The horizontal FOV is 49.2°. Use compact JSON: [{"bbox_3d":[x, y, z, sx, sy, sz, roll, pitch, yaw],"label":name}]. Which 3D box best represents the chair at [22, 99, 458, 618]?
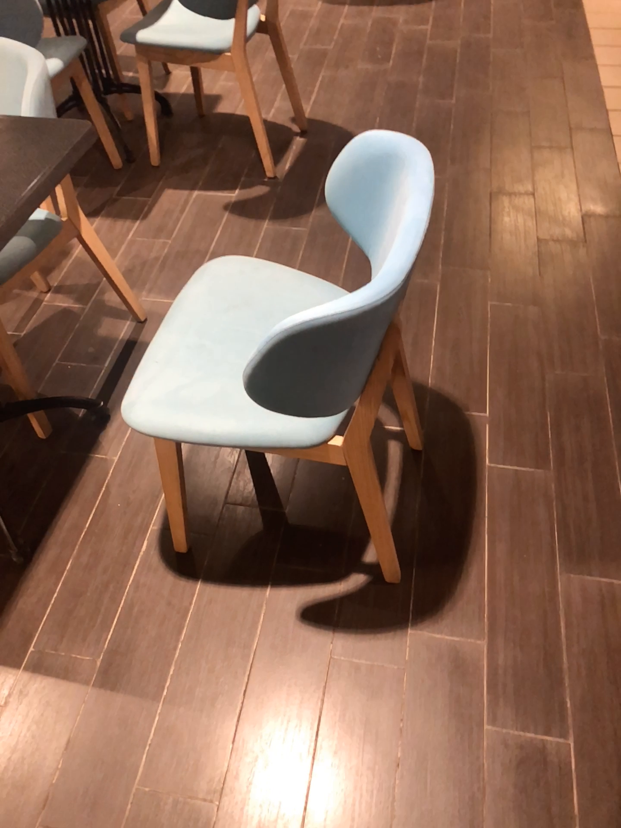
[{"bbox_3d":[-0.047,-0.065,1.286,0.510,0.817,0.482,8,50,11],"label":"chair"}]
